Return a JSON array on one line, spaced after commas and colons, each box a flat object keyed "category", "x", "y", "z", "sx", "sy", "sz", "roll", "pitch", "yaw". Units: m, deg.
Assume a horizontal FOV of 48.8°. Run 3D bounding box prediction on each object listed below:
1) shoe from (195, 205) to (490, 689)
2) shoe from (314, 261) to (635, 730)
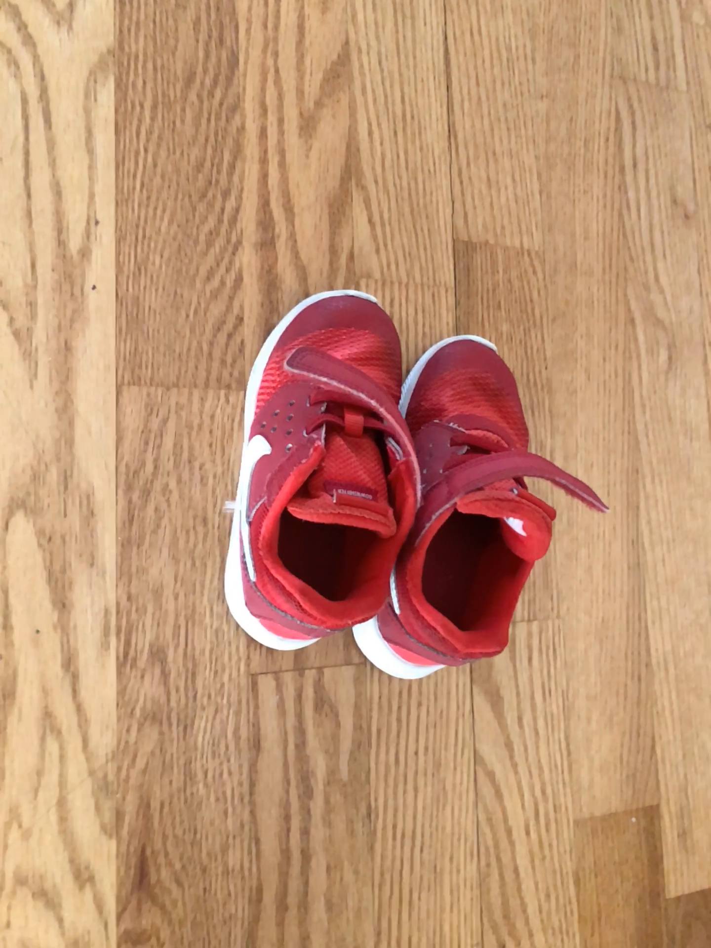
[{"category": "shoe", "x": -0.006, "y": -0.007, "z": 0.334, "sx": 0.081, "sy": 0.069, "sz": 0.175, "roll": 13, "pitch": 79, "yaw": -21}, {"category": "shoe", "x": 0.055, "y": 0.012, "z": 0.357, "sx": 0.088, "sy": 0.069, "sz": 0.177, "roll": 18, "pitch": 77, "yaw": -20}]
